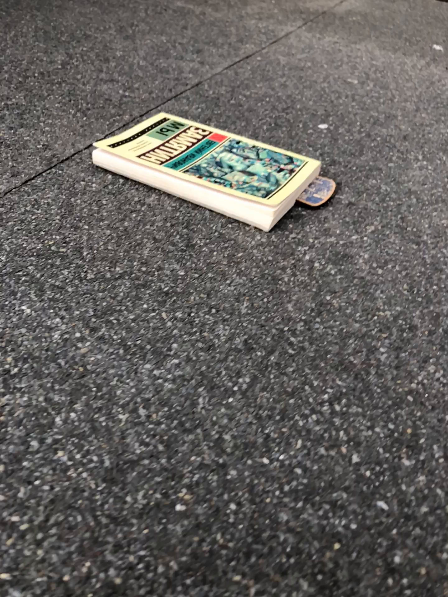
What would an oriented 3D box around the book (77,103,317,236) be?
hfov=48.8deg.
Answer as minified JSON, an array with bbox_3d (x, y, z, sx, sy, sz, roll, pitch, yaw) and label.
[{"bbox_3d":[-0.022,-0.127,0.454,0.181,0.026,0.121,23,43,17],"label":"book"}]
